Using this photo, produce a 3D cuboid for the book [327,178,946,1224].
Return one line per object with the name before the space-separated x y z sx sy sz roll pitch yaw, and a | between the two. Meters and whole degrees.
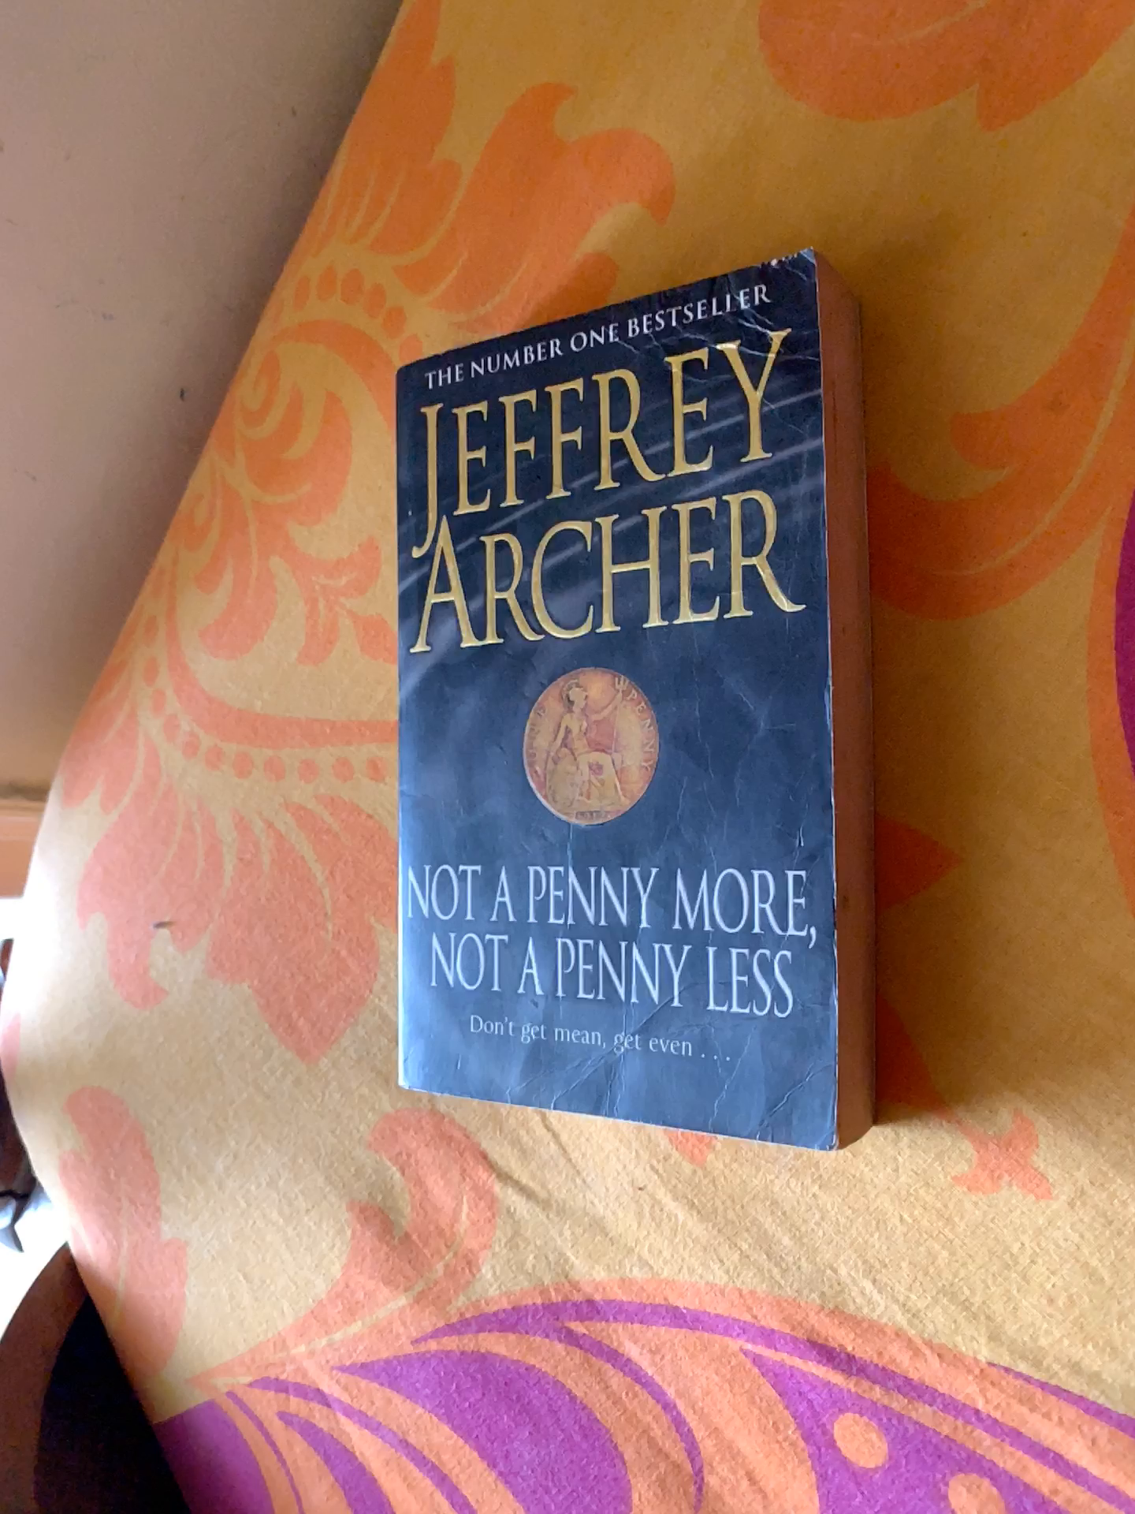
book | 0.009 -0.009 0.221 0.111 0.030 0.160 -3 83 32
